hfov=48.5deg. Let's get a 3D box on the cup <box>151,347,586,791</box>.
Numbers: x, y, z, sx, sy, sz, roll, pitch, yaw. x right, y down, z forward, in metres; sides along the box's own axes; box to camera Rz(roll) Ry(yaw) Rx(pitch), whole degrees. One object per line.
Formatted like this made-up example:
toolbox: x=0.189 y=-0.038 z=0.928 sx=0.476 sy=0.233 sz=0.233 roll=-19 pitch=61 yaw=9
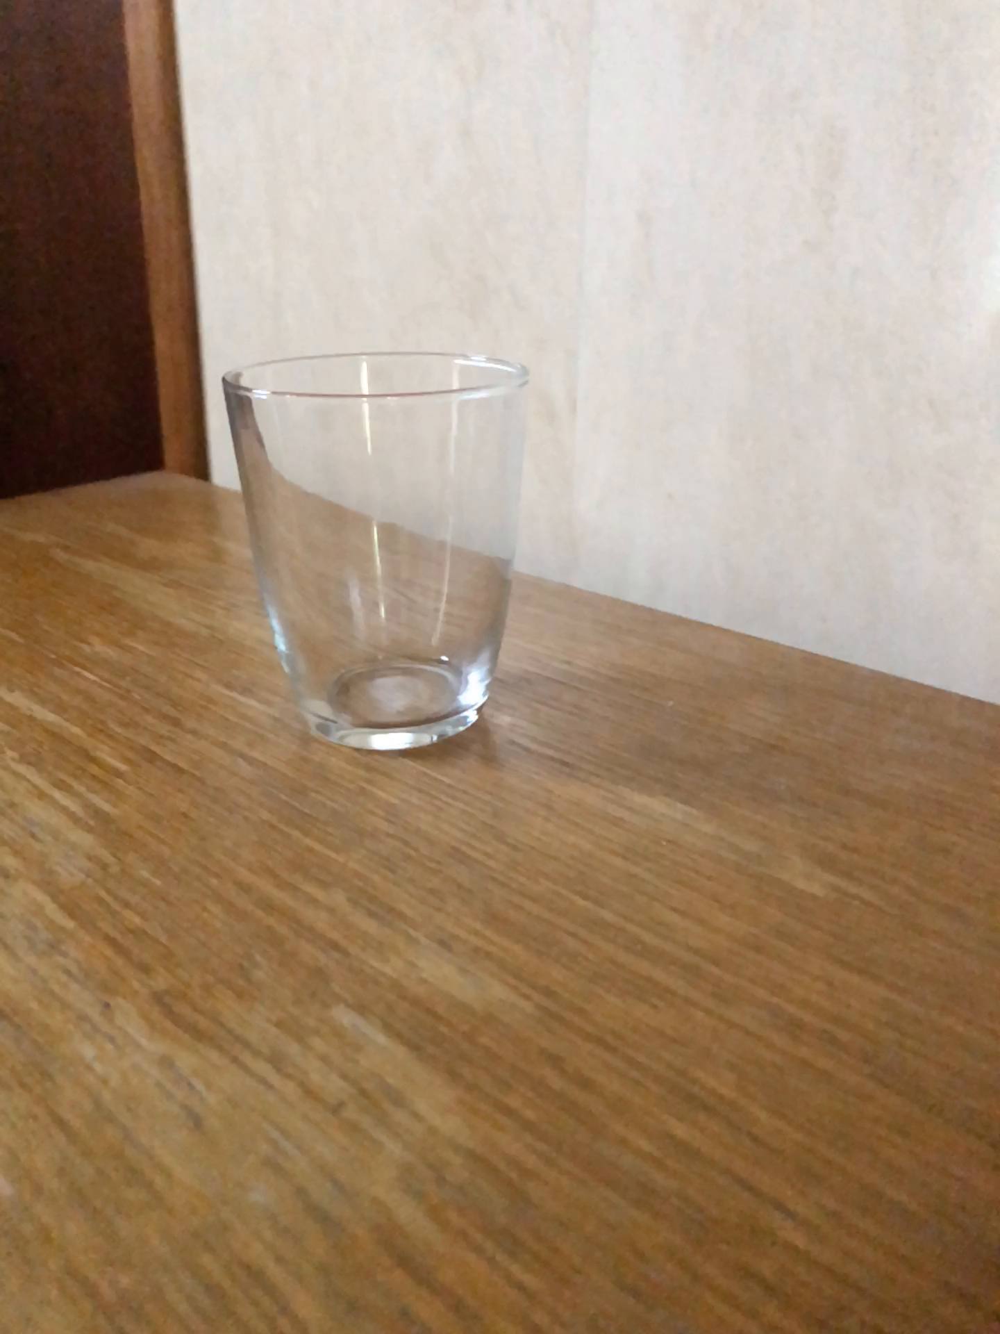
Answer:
cup: x=-0.026 y=-0.029 z=0.260 sx=0.070 sy=0.080 sz=0.070 roll=1 pitch=21 yaw=0
